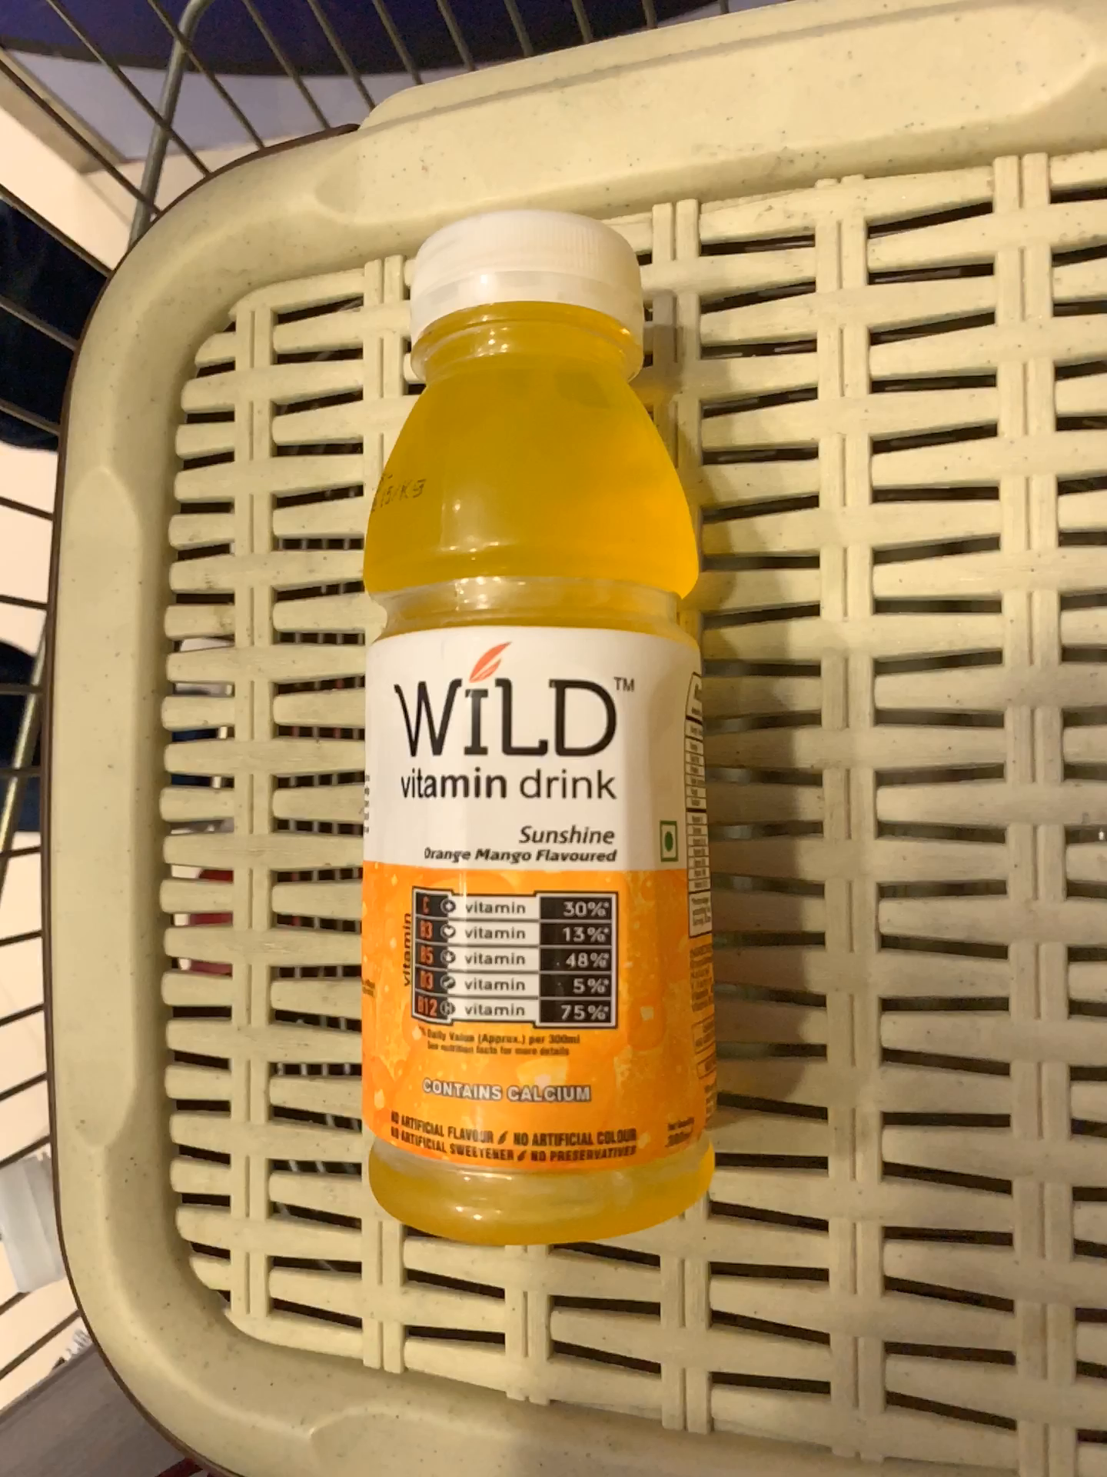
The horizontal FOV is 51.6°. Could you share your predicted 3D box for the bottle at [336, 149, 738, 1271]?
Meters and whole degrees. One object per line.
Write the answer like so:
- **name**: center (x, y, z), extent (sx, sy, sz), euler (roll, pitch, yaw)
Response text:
- **bottle**: center (-0.001, -0.004, 0.206), extent (0.060, 0.060, 0.170), euler (-1, 88, 5)
